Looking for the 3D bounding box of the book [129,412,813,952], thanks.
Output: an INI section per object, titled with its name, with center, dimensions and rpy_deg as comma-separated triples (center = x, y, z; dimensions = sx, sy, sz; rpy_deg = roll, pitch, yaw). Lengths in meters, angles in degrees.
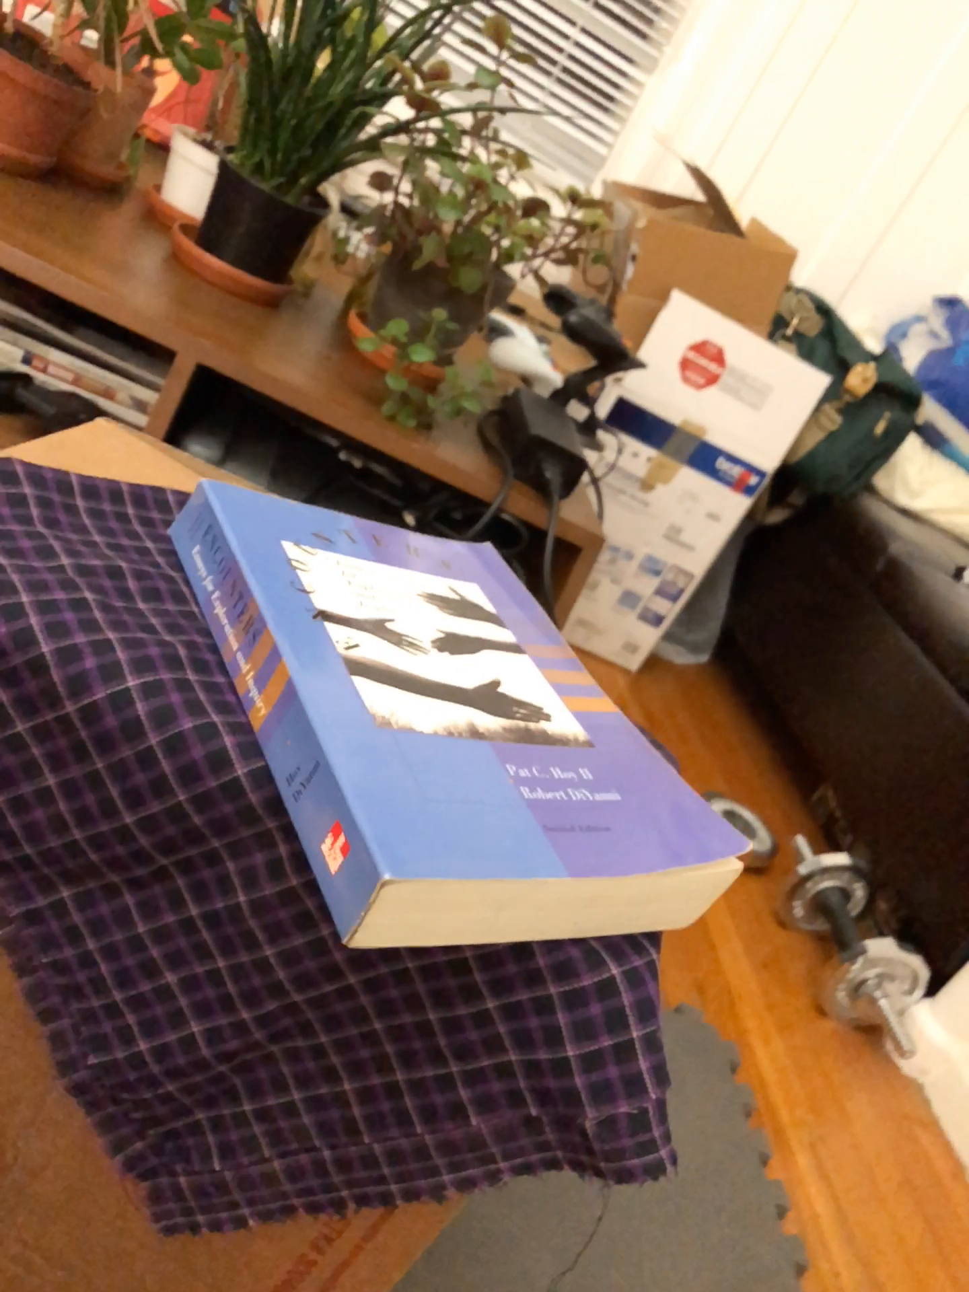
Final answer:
[book]
center = -0.016, 0.007, 0.449
dimensions = 0.200, 0.040, 0.261
rpy_deg = 10, 31, -39
